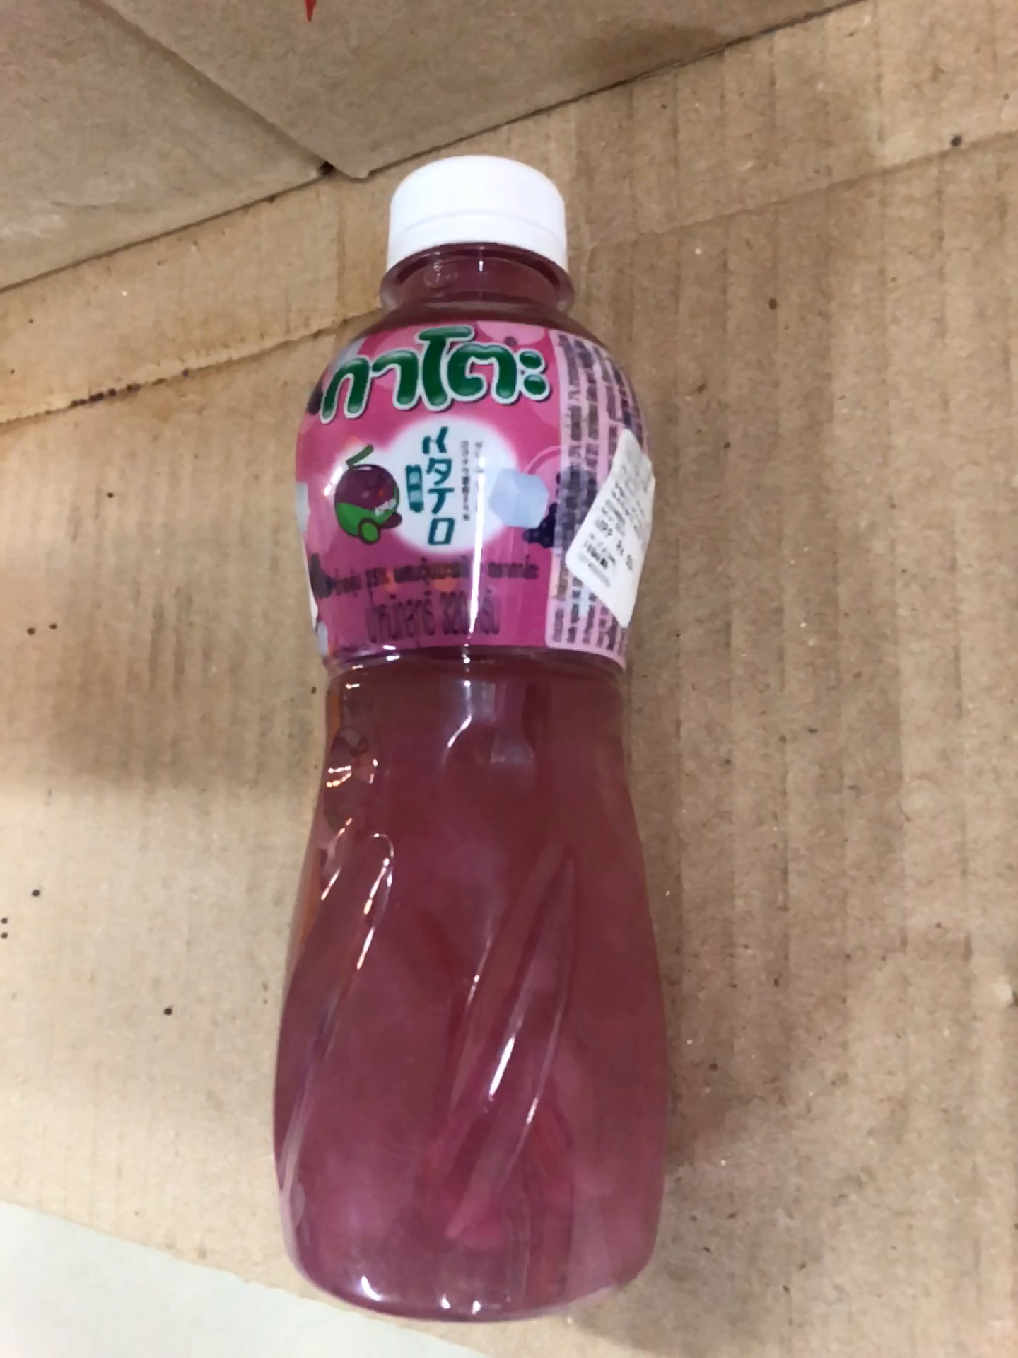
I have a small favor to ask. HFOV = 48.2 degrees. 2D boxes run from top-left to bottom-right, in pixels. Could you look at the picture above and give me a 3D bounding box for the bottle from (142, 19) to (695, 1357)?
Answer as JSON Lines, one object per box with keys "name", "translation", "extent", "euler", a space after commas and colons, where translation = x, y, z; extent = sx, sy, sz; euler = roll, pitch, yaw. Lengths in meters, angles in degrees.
{"name": "bottle", "translation": [-0.010, 0.003, 0.171], "extent": [0.060, 0.050, 0.170], "euler": [-4, 81, 24]}
